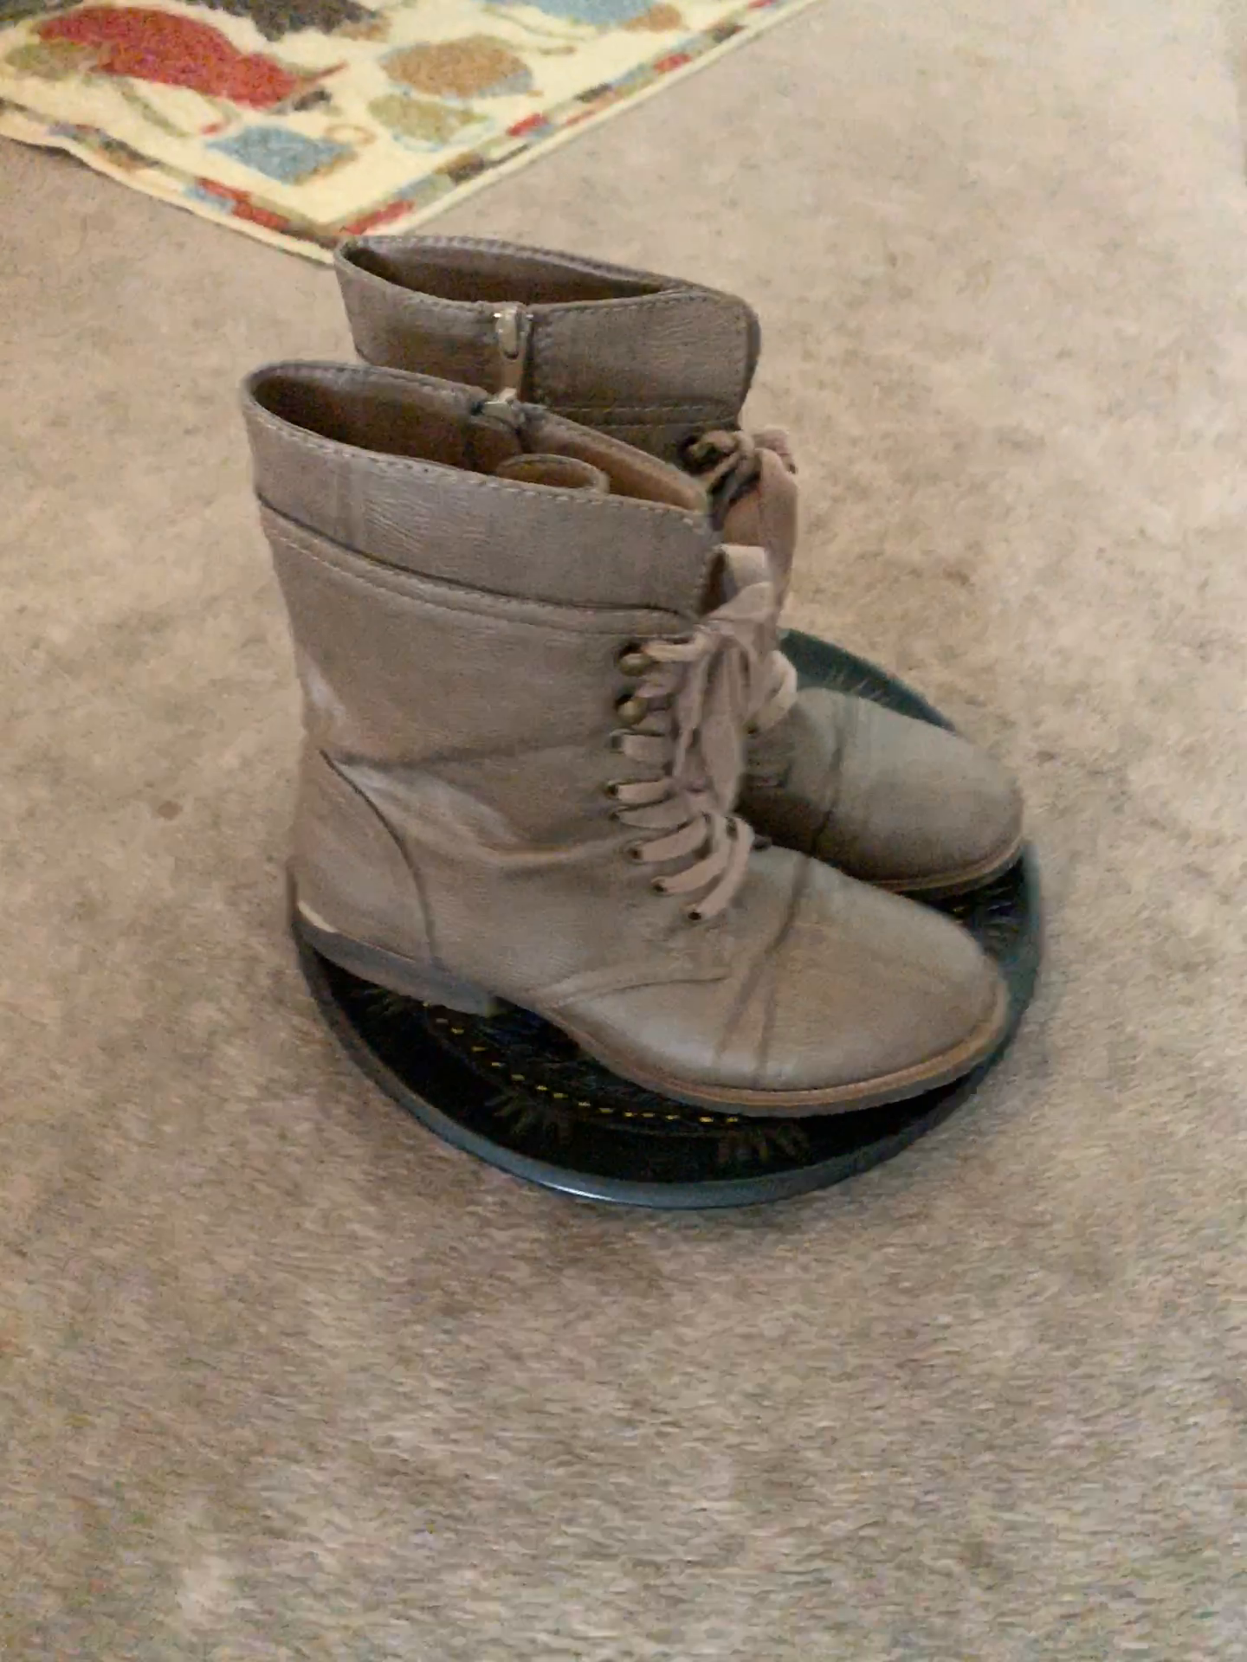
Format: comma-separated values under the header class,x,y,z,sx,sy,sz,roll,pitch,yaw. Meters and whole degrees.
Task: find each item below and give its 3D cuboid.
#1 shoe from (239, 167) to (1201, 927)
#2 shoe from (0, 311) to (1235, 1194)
class,x,y,z,sx,sy,sz,roll,pitch,yaw
shoe,0.030,-0.092,0.448,0.260,0.198,0.101,12,50,9
shoe,0.000,-0.016,0.379,0.270,0.198,0.101,12,50,9
